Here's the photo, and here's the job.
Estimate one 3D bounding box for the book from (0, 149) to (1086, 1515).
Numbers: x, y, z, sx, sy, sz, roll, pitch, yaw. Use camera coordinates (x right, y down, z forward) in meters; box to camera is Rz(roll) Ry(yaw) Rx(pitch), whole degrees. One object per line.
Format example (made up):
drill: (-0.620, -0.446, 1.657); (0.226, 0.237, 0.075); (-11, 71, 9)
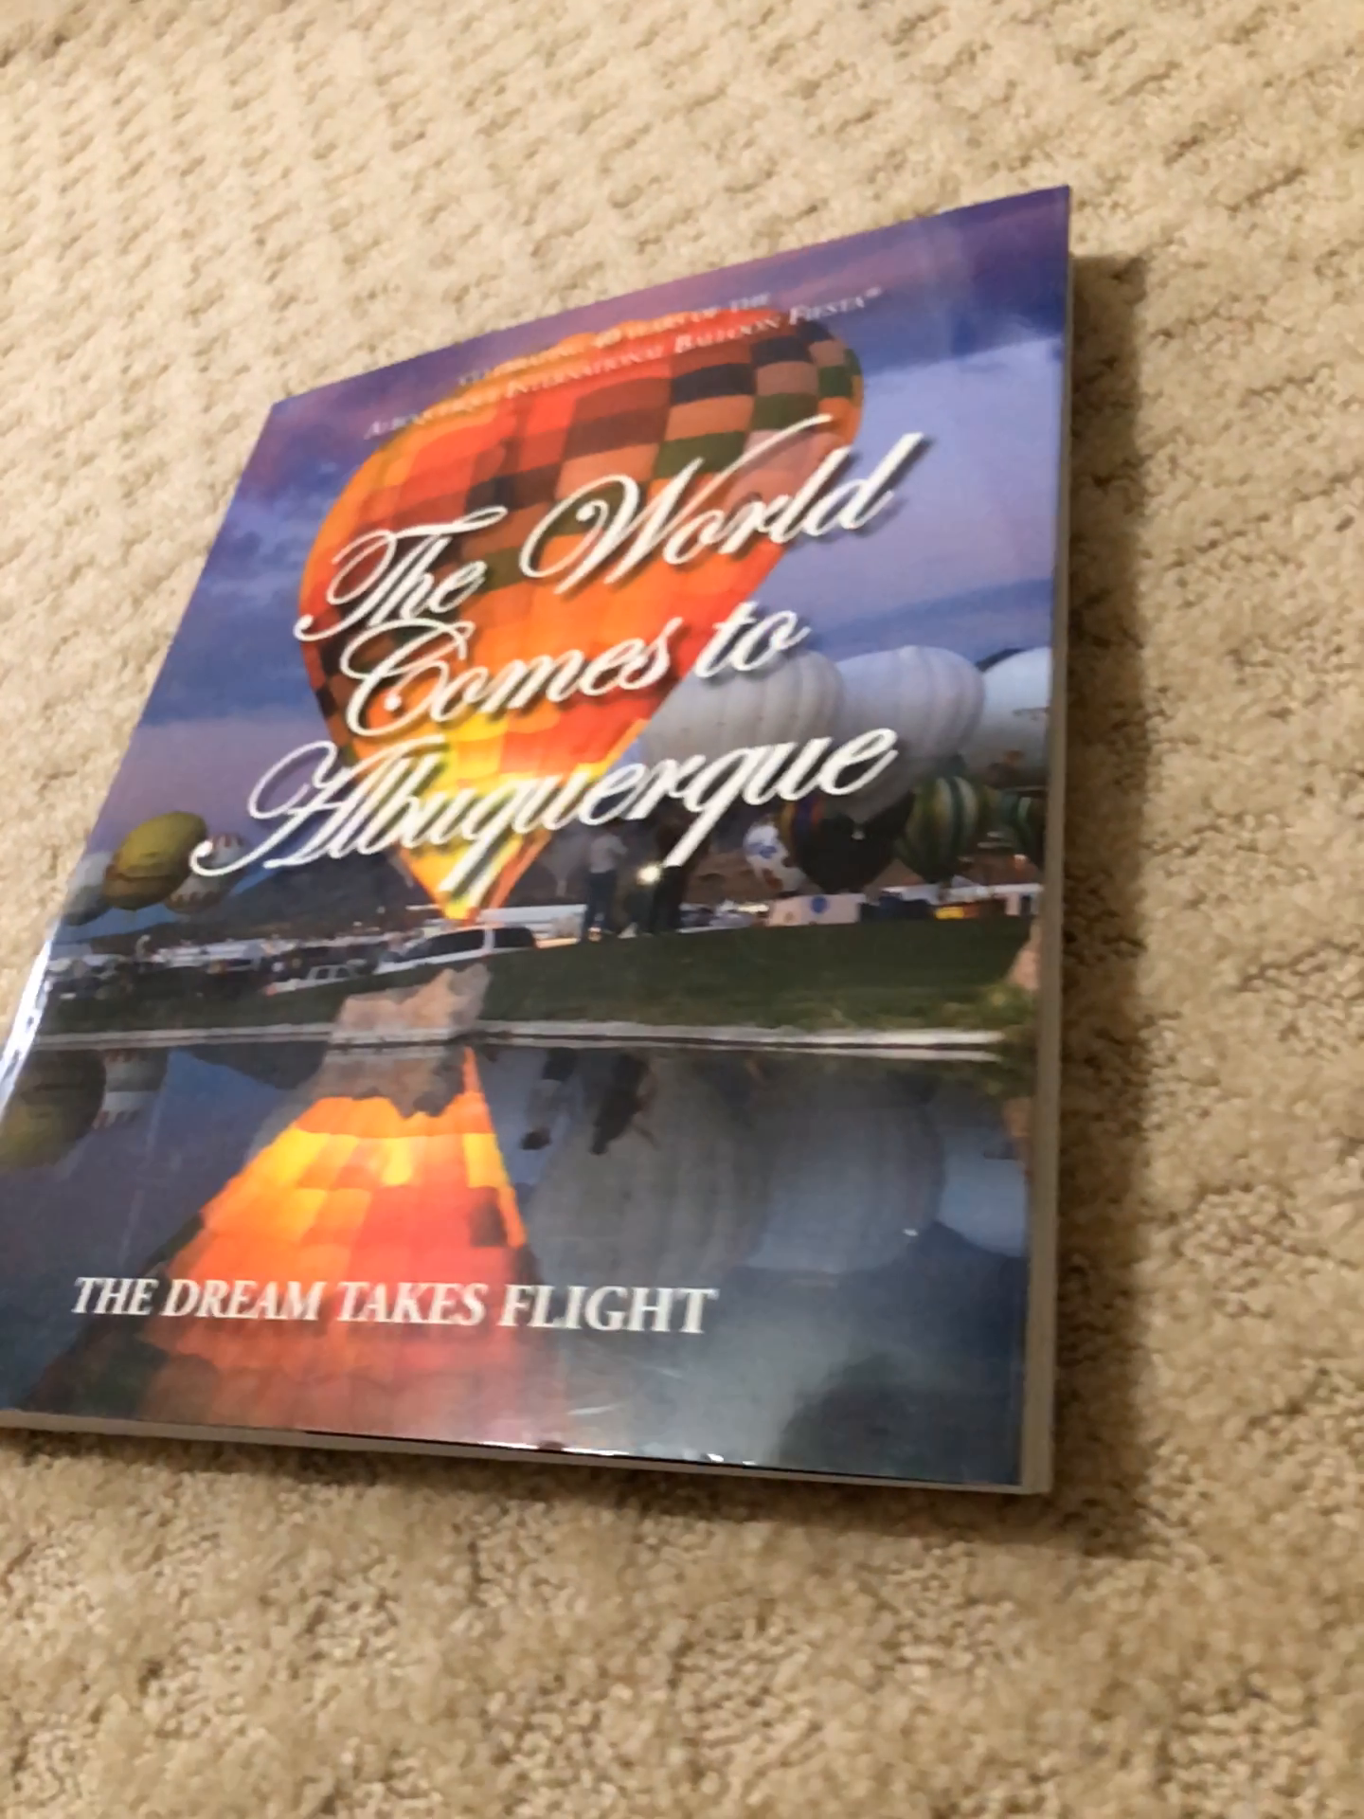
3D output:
book: (-0.030, -0.030, 0.293); (0.204, 0.023, 0.259); (-6, 55, 25)
